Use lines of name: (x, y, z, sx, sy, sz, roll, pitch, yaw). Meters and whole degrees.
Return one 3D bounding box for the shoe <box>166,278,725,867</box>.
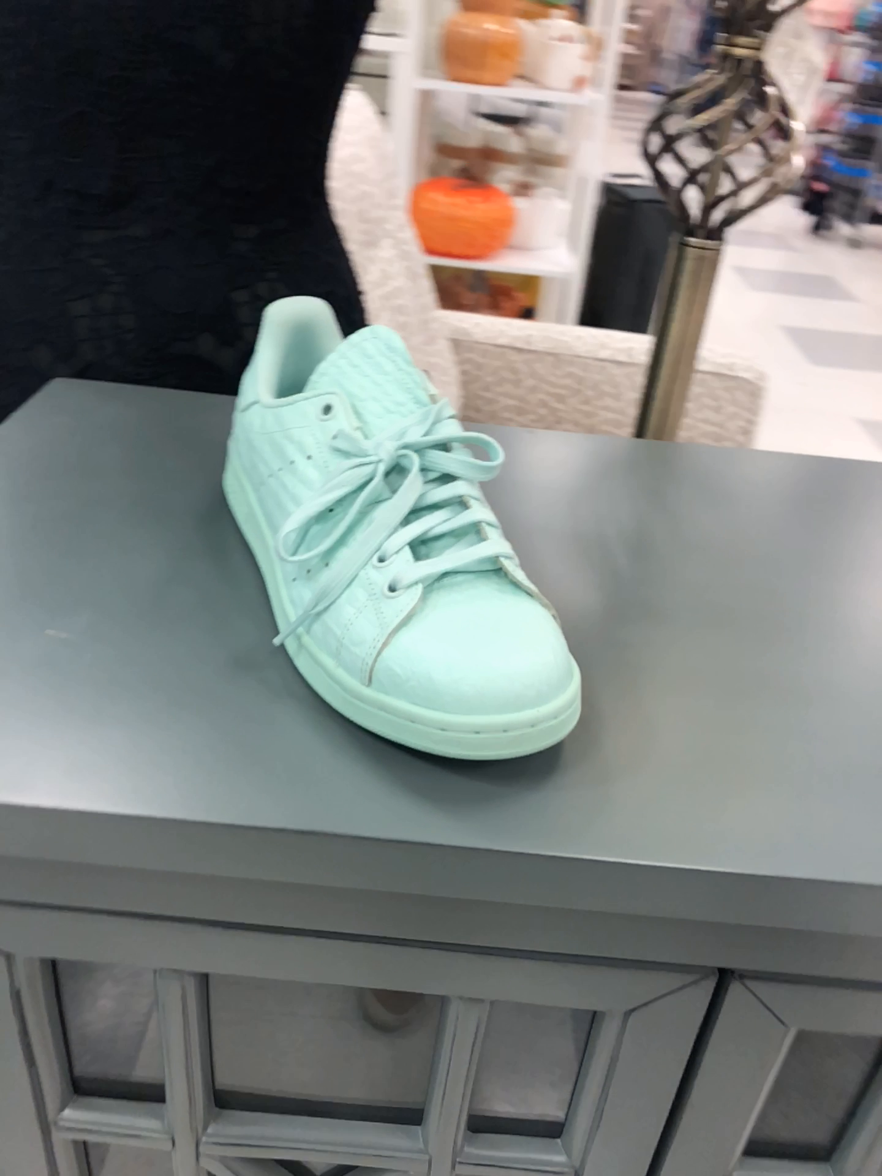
shoe: (-0.023, -0.033, 0.391, 0.106, 0.112, 0.253, -11, 35, -25)
